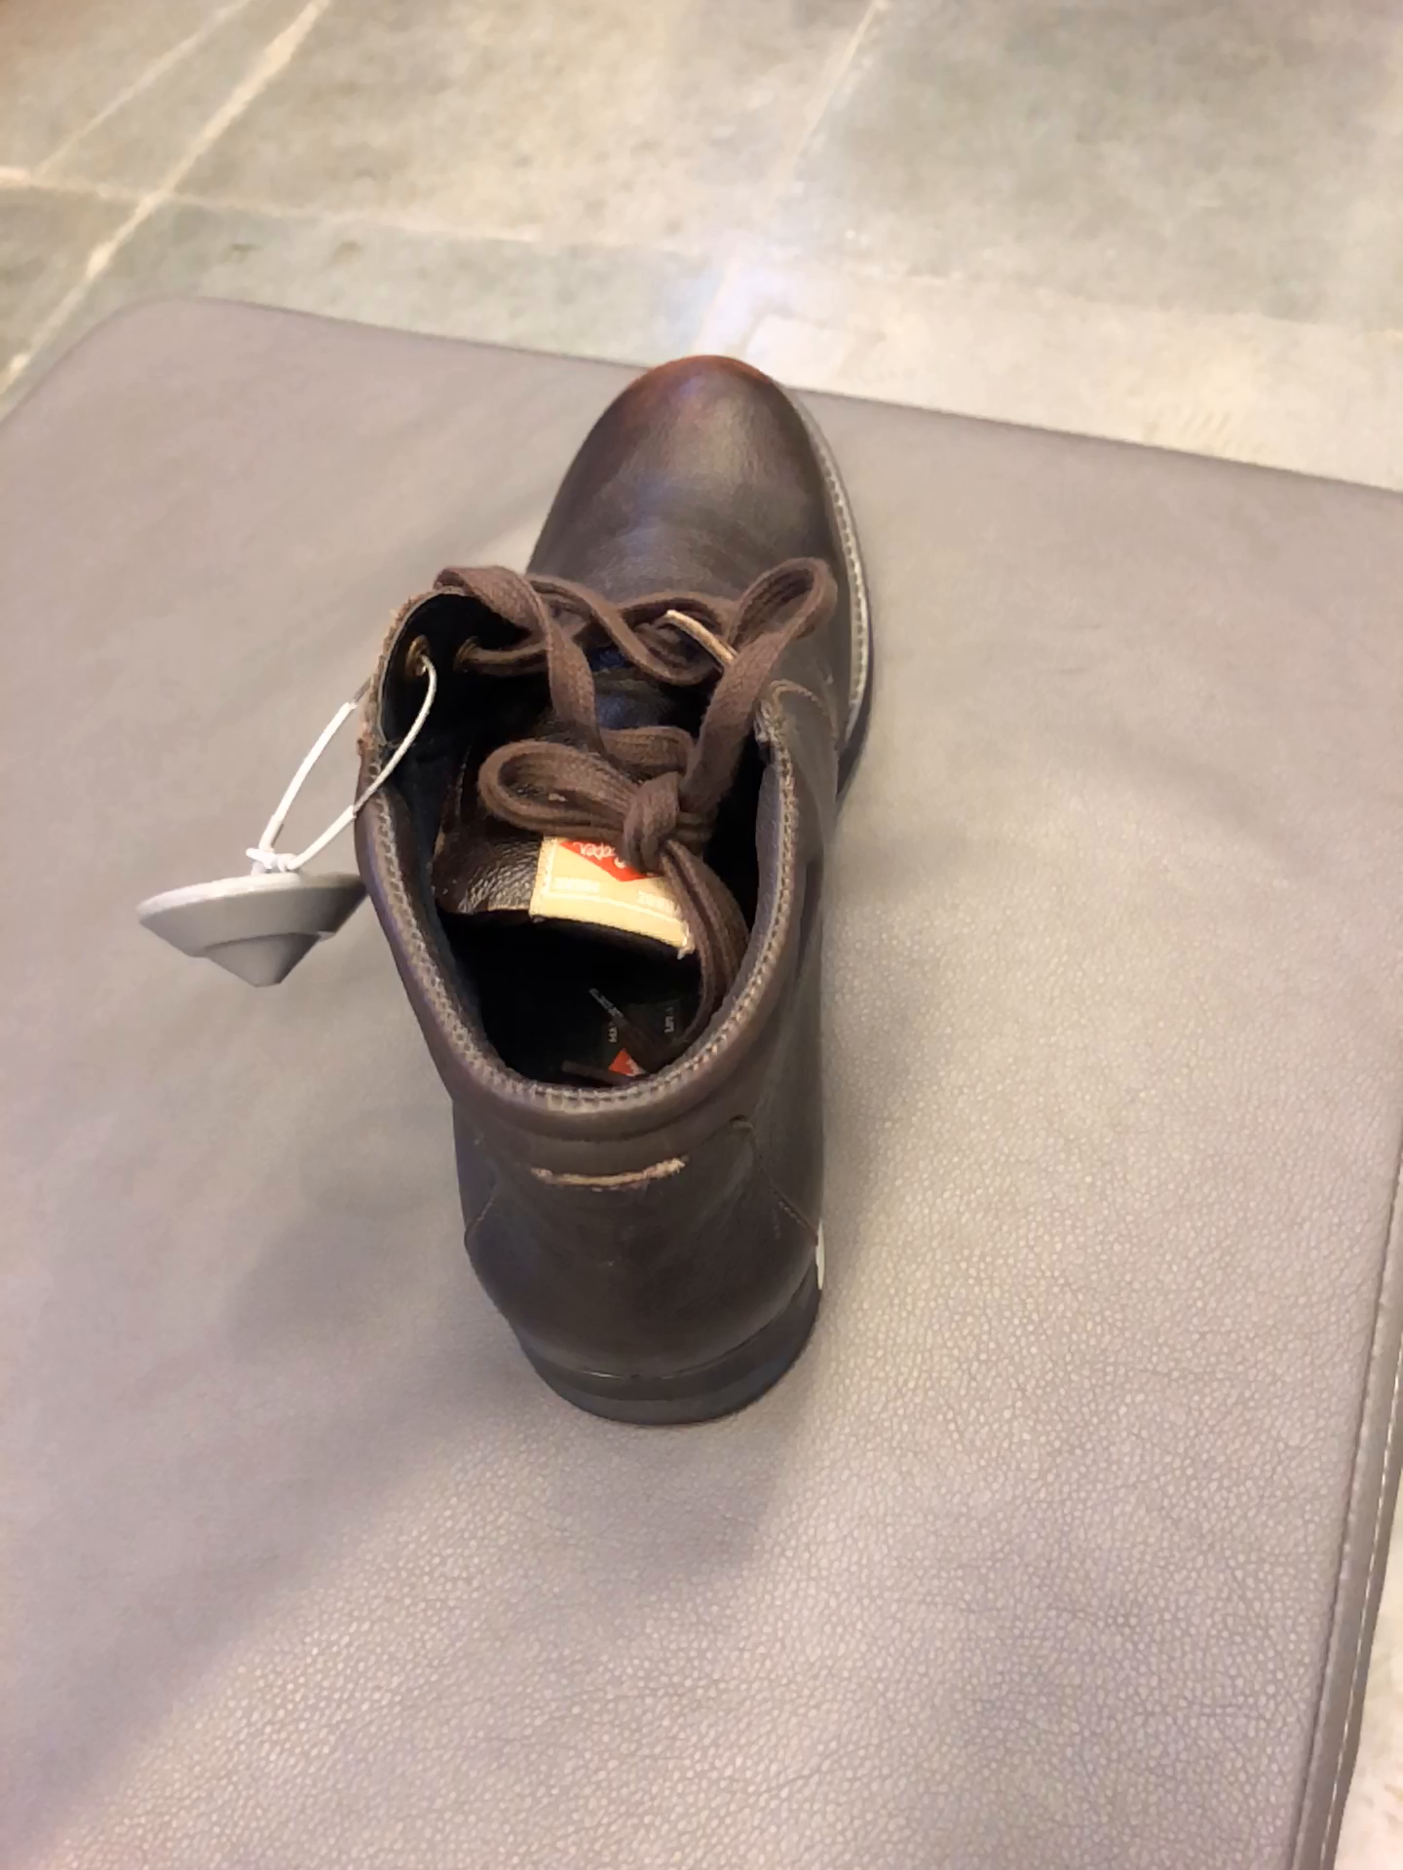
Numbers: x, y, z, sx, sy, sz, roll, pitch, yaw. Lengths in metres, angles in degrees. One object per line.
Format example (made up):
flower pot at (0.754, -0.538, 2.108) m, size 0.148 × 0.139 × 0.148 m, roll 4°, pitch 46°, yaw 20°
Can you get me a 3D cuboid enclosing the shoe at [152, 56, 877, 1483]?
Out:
shoe at (-0.013, -0.041, 0.385) m, size 0.108 × 0.177 × 0.300 m, roll -1°, pitch 58°, yaw 7°
